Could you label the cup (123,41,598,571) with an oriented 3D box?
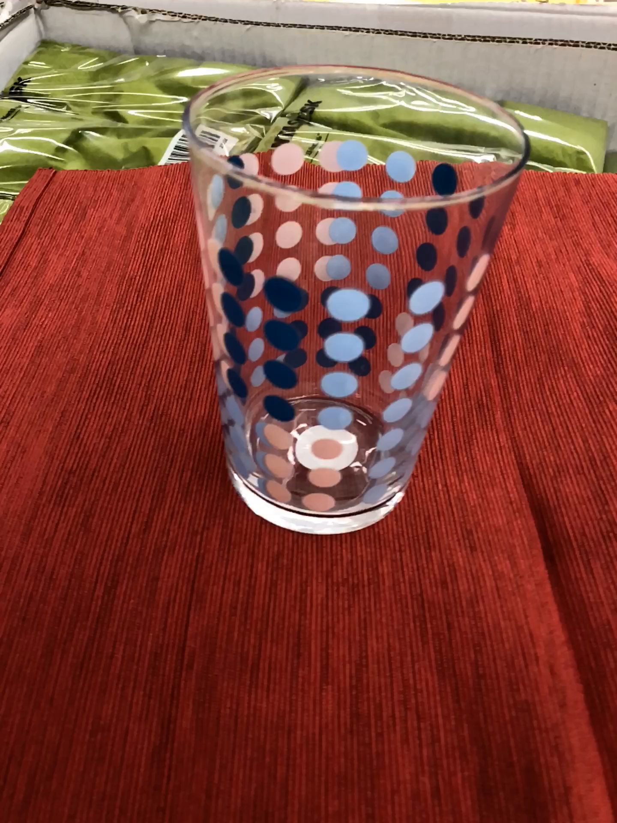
[{"bbox_3d":[0.011,-0.029,0.204,0.090,0.120,0.090,1,43,-1],"label":"cup"}]
